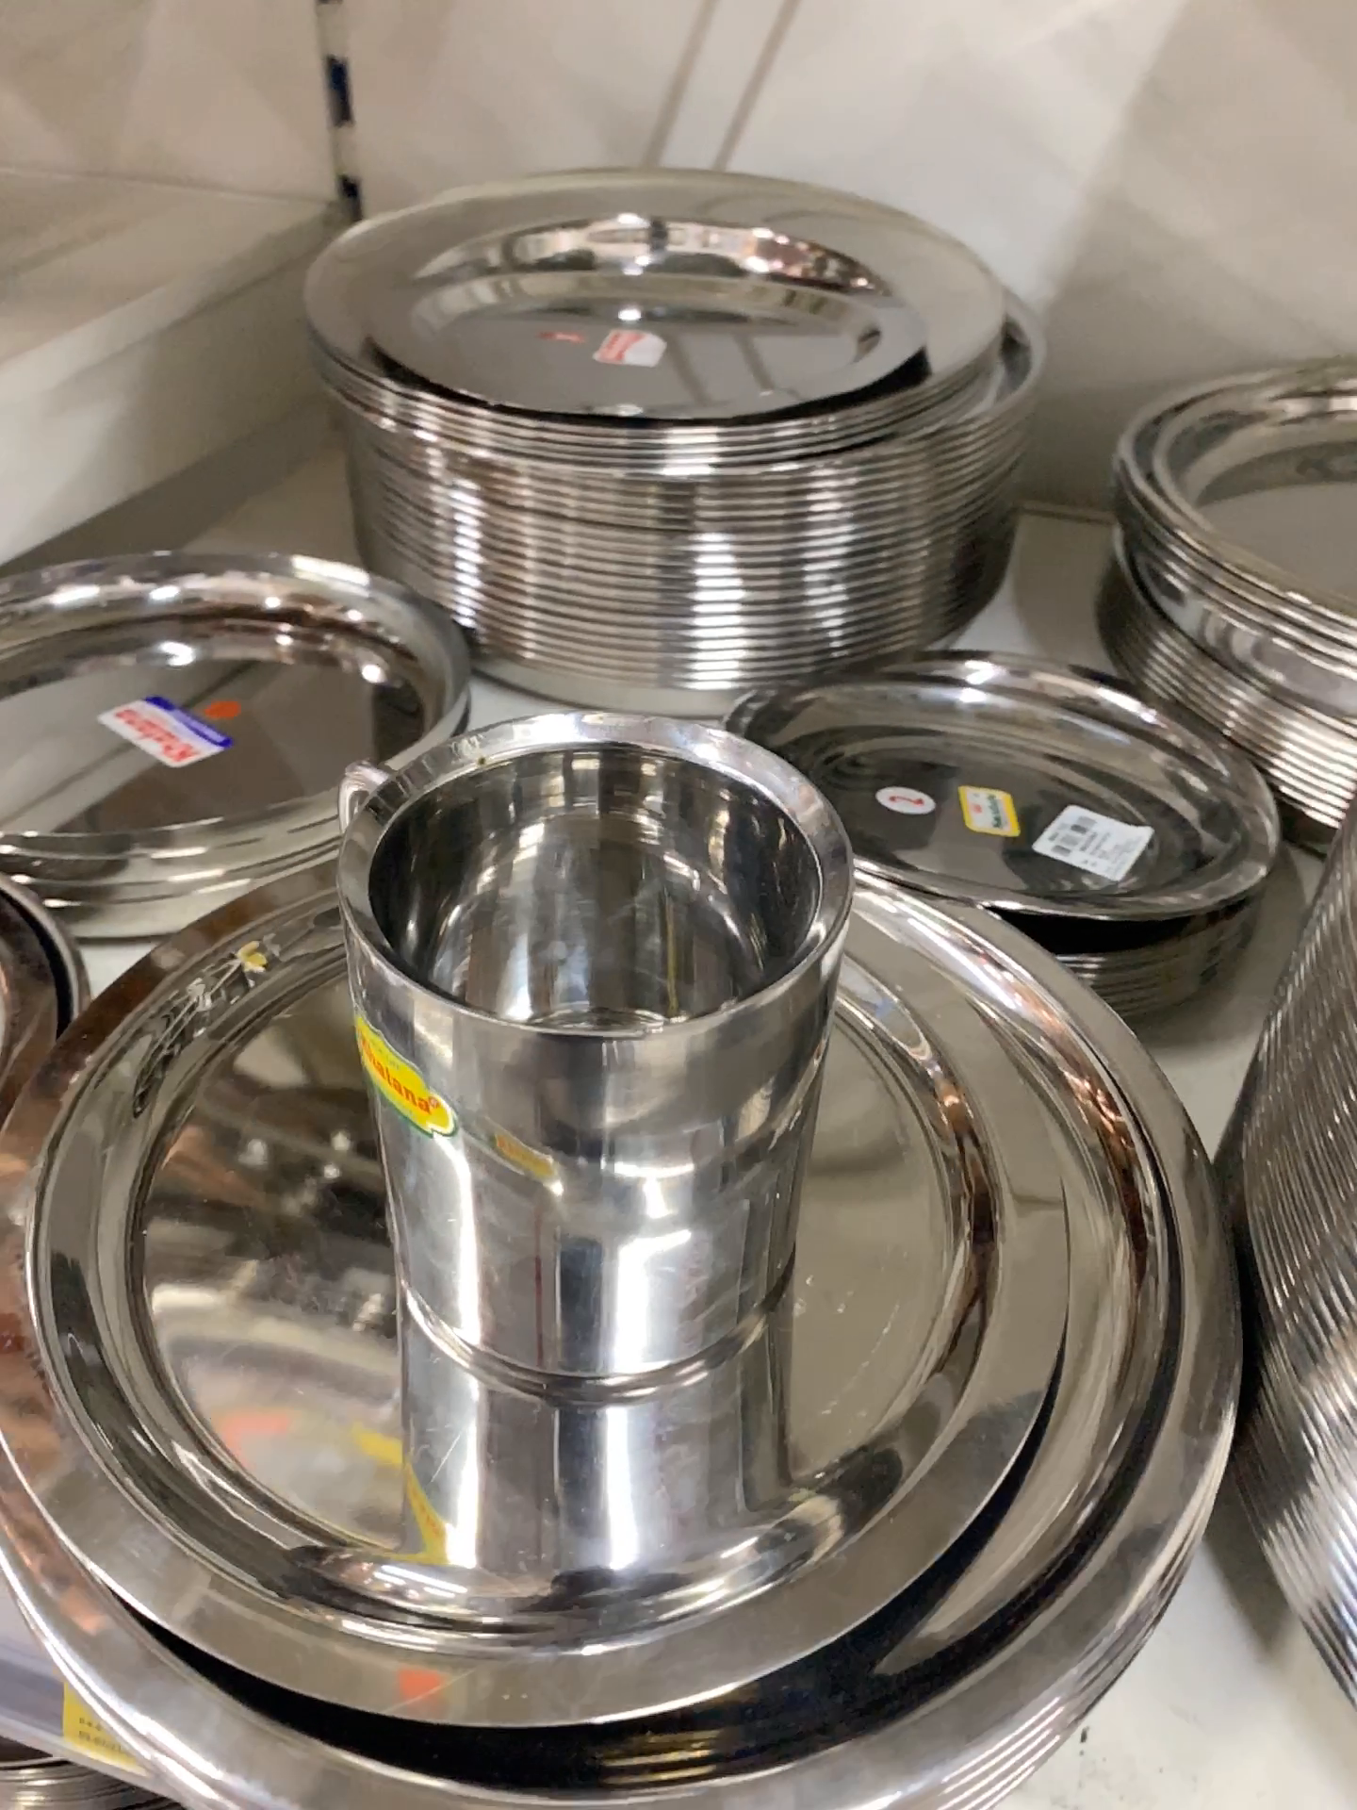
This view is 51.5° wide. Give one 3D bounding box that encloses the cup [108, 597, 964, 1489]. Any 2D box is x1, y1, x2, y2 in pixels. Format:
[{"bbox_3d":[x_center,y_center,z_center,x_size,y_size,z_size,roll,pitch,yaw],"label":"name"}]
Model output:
[{"bbox_3d":[-0.025,0.017,0.249,0.110,0.090,0.080,29,46,30],"label":"cup"}]
